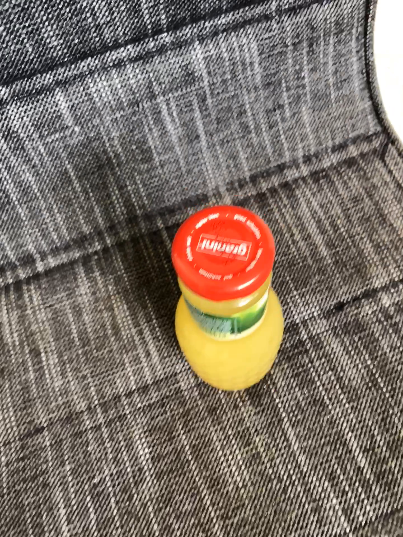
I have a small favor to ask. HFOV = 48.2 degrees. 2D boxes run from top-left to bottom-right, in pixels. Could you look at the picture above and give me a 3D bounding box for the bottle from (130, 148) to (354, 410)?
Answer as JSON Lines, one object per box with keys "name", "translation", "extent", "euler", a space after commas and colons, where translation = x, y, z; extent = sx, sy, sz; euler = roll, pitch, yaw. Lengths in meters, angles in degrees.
{"name": "bottle", "translation": [0.018, 0.020, 0.241], "extent": [0.070, 0.150, 0.070], "euler": [-2, 64, 4]}
